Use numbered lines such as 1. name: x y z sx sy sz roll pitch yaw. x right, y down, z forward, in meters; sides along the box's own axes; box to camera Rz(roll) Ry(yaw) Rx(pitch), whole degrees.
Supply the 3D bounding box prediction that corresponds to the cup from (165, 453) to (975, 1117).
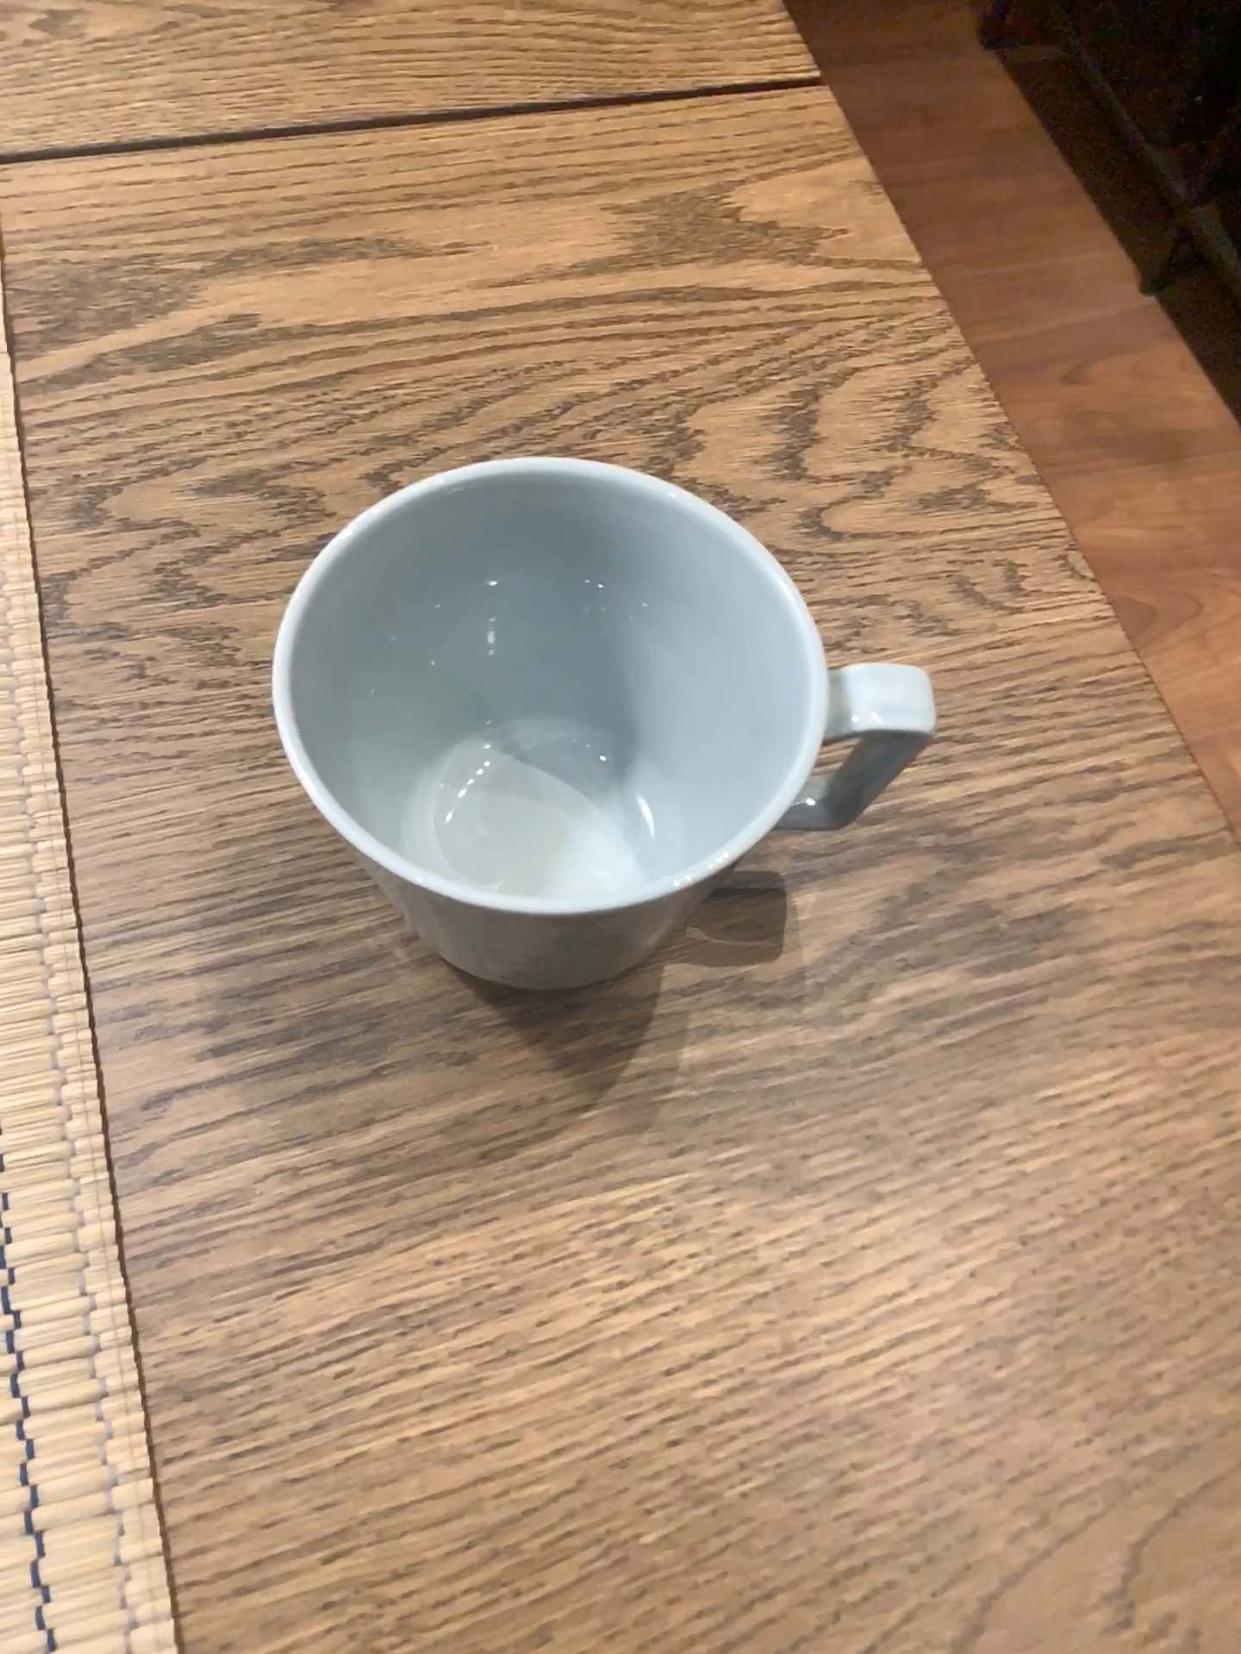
1. cup: -0.011 -0.004 0.290 0.140 0.100 0.110 2 62 -4
